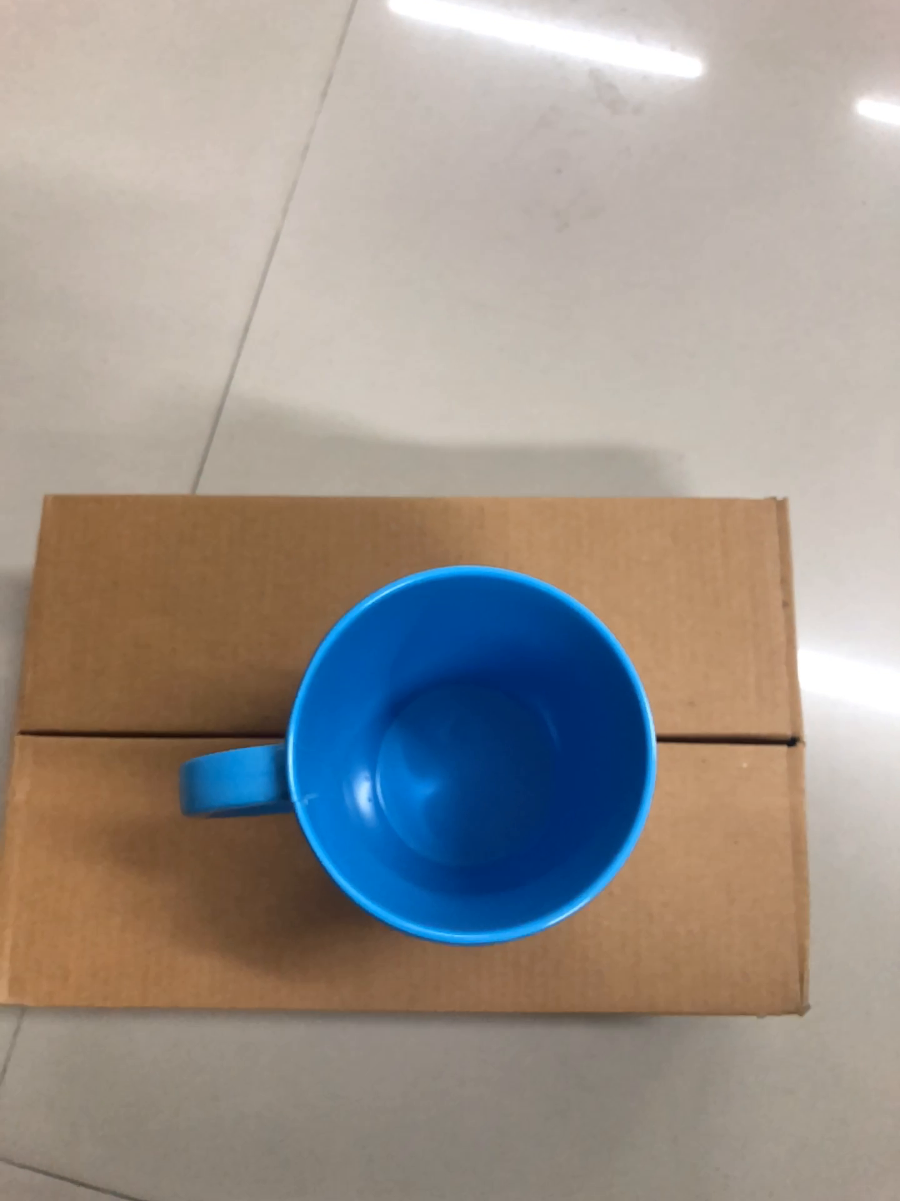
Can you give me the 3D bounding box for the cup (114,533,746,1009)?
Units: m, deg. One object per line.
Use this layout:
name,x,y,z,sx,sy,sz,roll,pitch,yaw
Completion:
cup,-0.006,0.042,0.251,0.120,0.090,0.080,-8,77,-2
